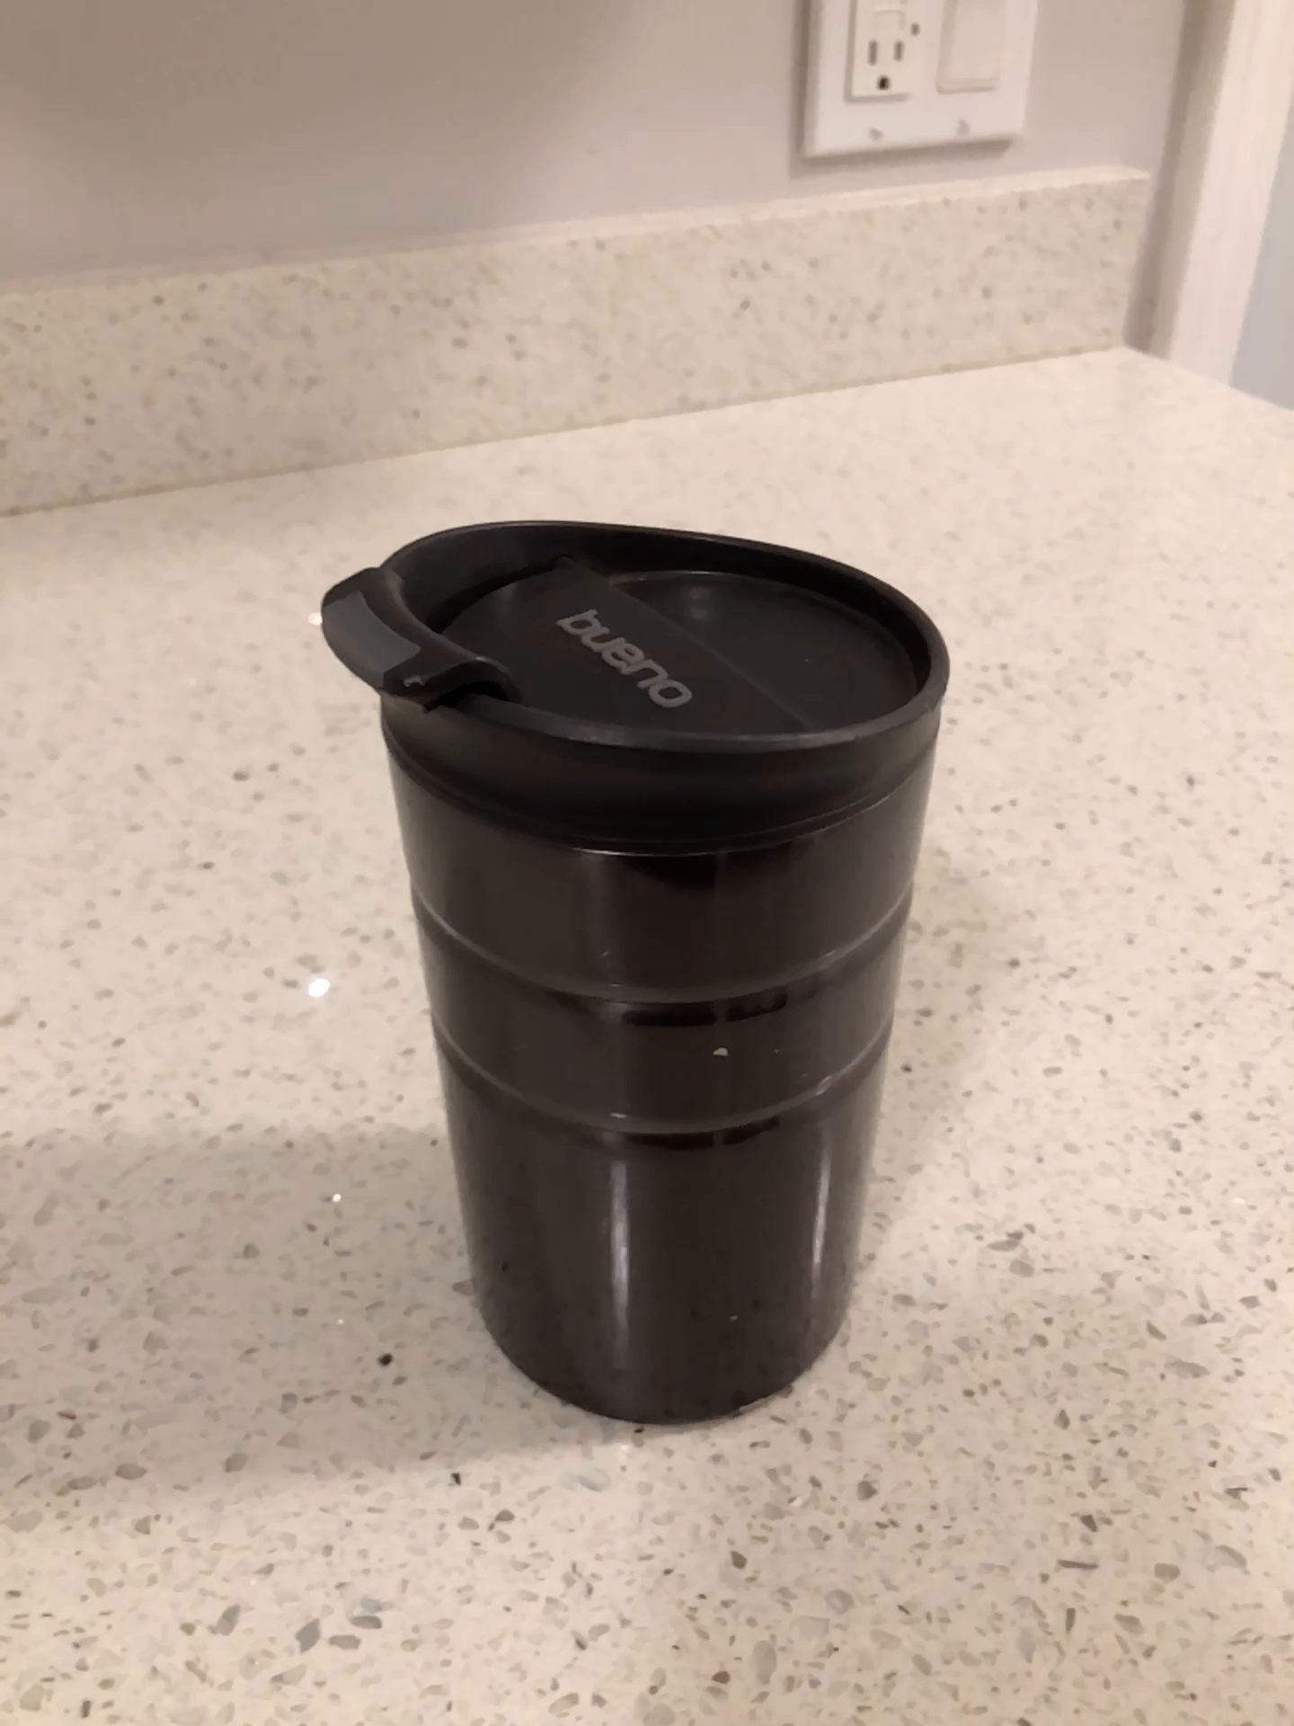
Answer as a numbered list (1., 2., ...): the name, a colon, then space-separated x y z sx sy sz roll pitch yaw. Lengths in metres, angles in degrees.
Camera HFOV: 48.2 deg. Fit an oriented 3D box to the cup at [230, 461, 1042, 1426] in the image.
1. cup: -0.001 0.012 0.219 0.084 0.116 0.087 0 35 0
